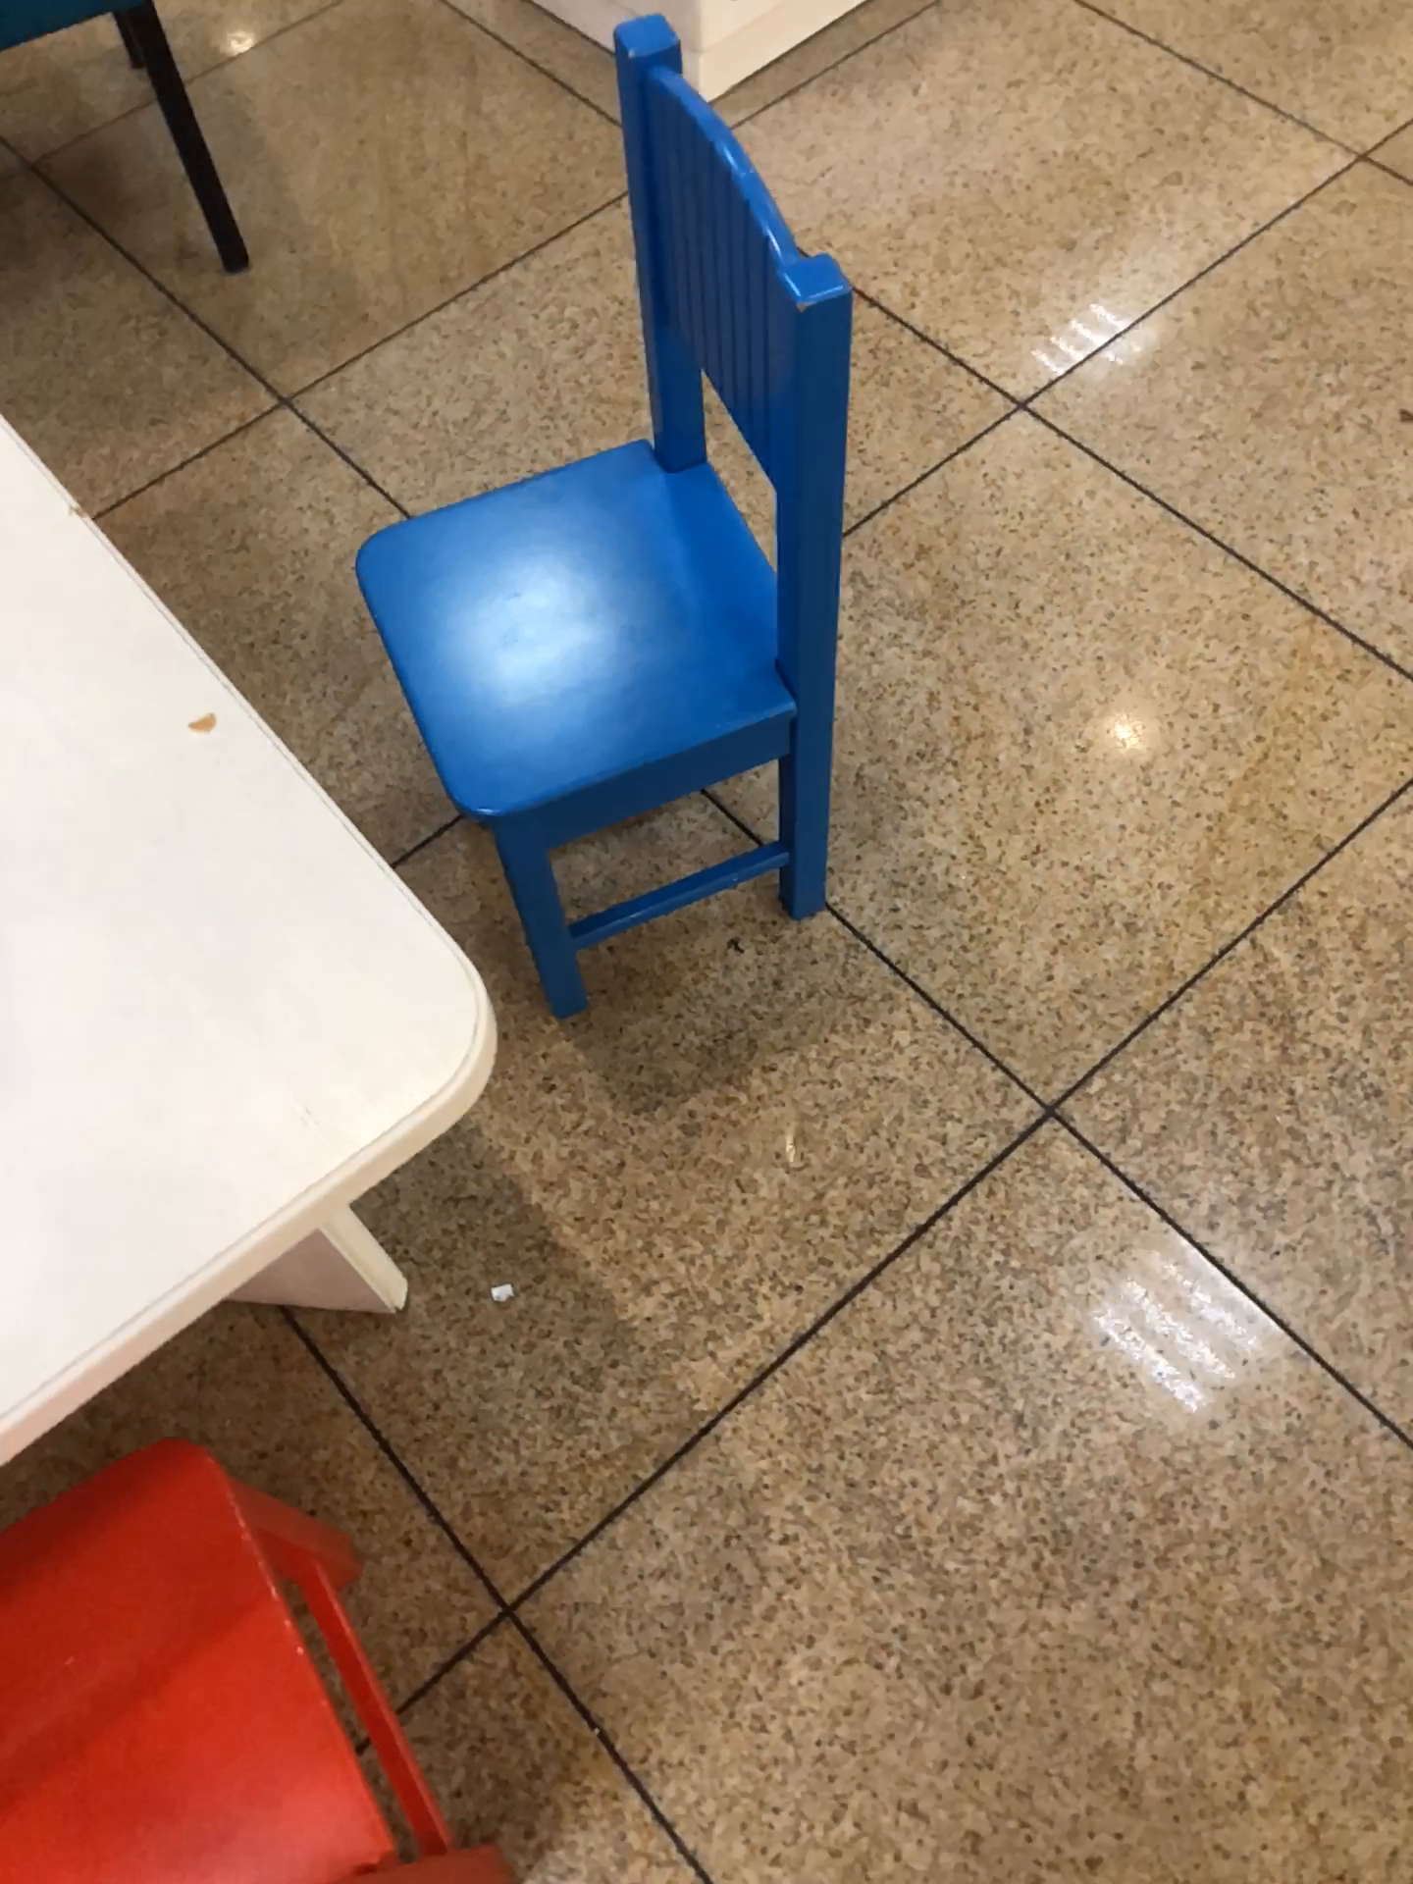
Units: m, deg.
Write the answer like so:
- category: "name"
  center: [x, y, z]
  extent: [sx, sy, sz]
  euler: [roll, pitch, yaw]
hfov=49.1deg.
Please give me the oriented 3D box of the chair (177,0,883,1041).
- category: "chair"
  center: [-0.090, -0.244, 1.126]
  extent: [0.300, 0.639, 0.300]
  euler: [-23, 63, -9]
